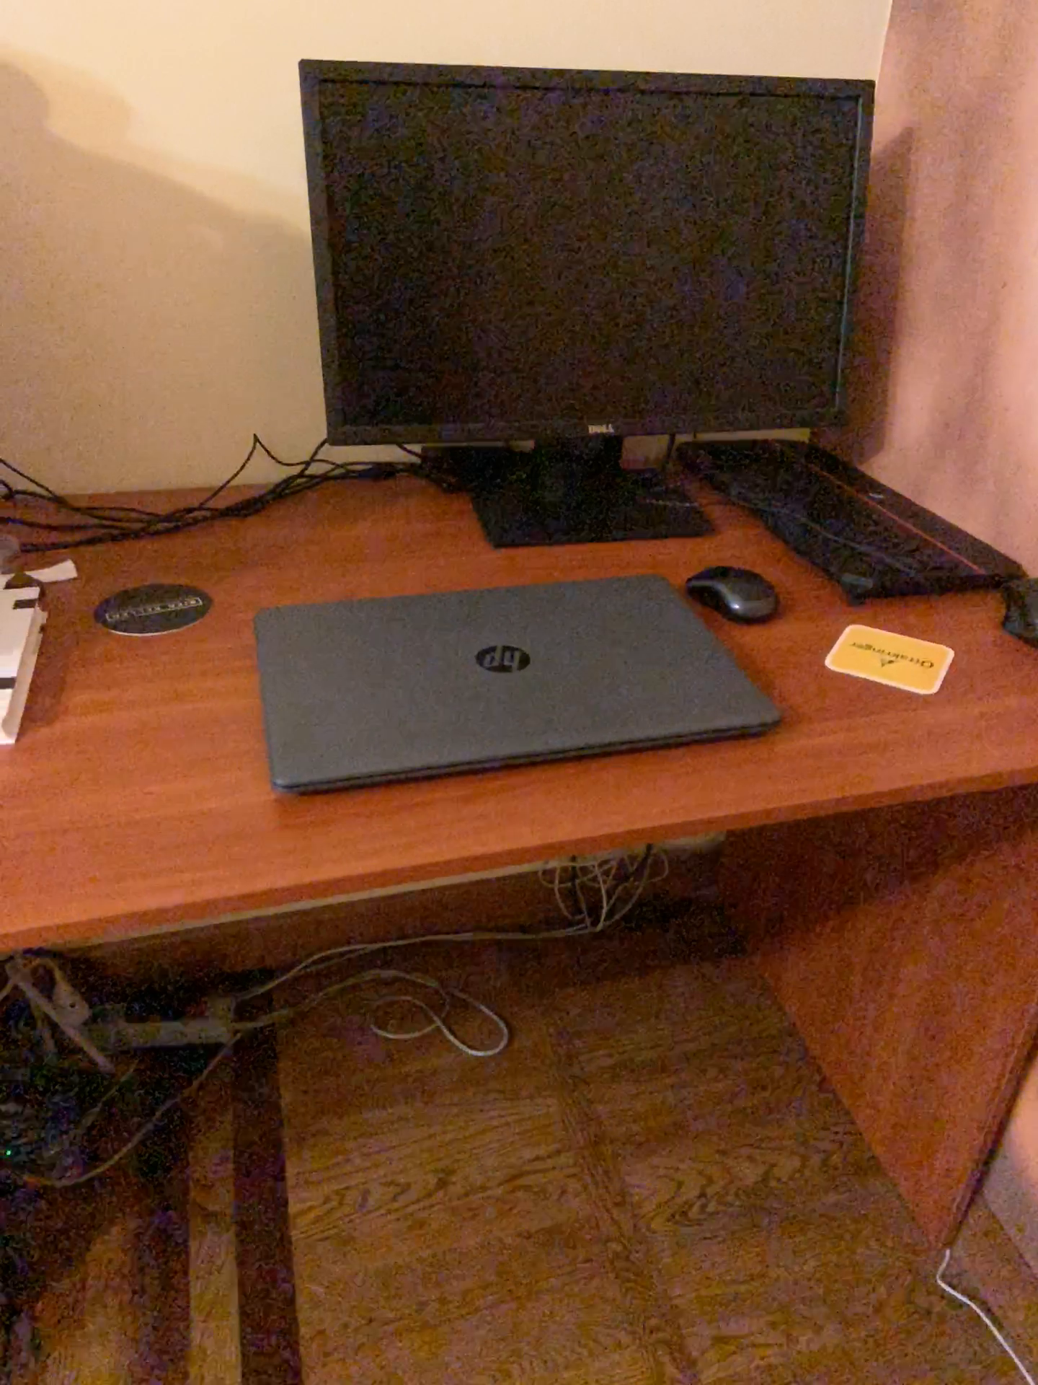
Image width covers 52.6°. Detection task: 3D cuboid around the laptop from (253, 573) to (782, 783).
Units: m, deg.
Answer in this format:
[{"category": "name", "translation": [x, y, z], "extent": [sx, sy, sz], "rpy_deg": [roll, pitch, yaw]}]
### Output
[{"category": "laptop", "translation": [-0.016, -0.026, 0.841], "extent": [0.368, 0.005, 0.248], "rpy_deg": [-6, 33, -13]}]
